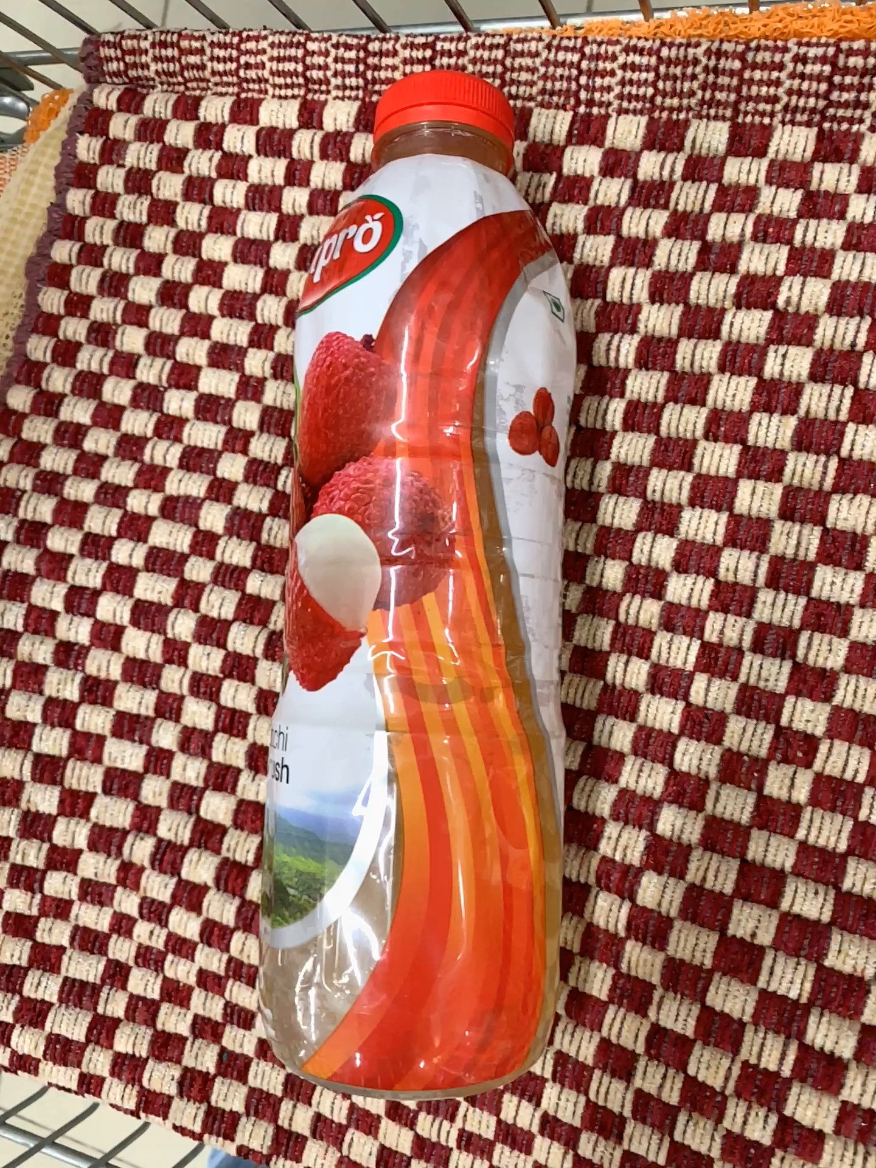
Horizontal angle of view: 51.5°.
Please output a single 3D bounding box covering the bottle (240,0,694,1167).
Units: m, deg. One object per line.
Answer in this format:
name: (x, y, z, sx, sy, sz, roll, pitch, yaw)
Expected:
bottle: (0.004, -0.006, 0.223, 0.080, 0.070, 0.240, 3, 88, -23)
